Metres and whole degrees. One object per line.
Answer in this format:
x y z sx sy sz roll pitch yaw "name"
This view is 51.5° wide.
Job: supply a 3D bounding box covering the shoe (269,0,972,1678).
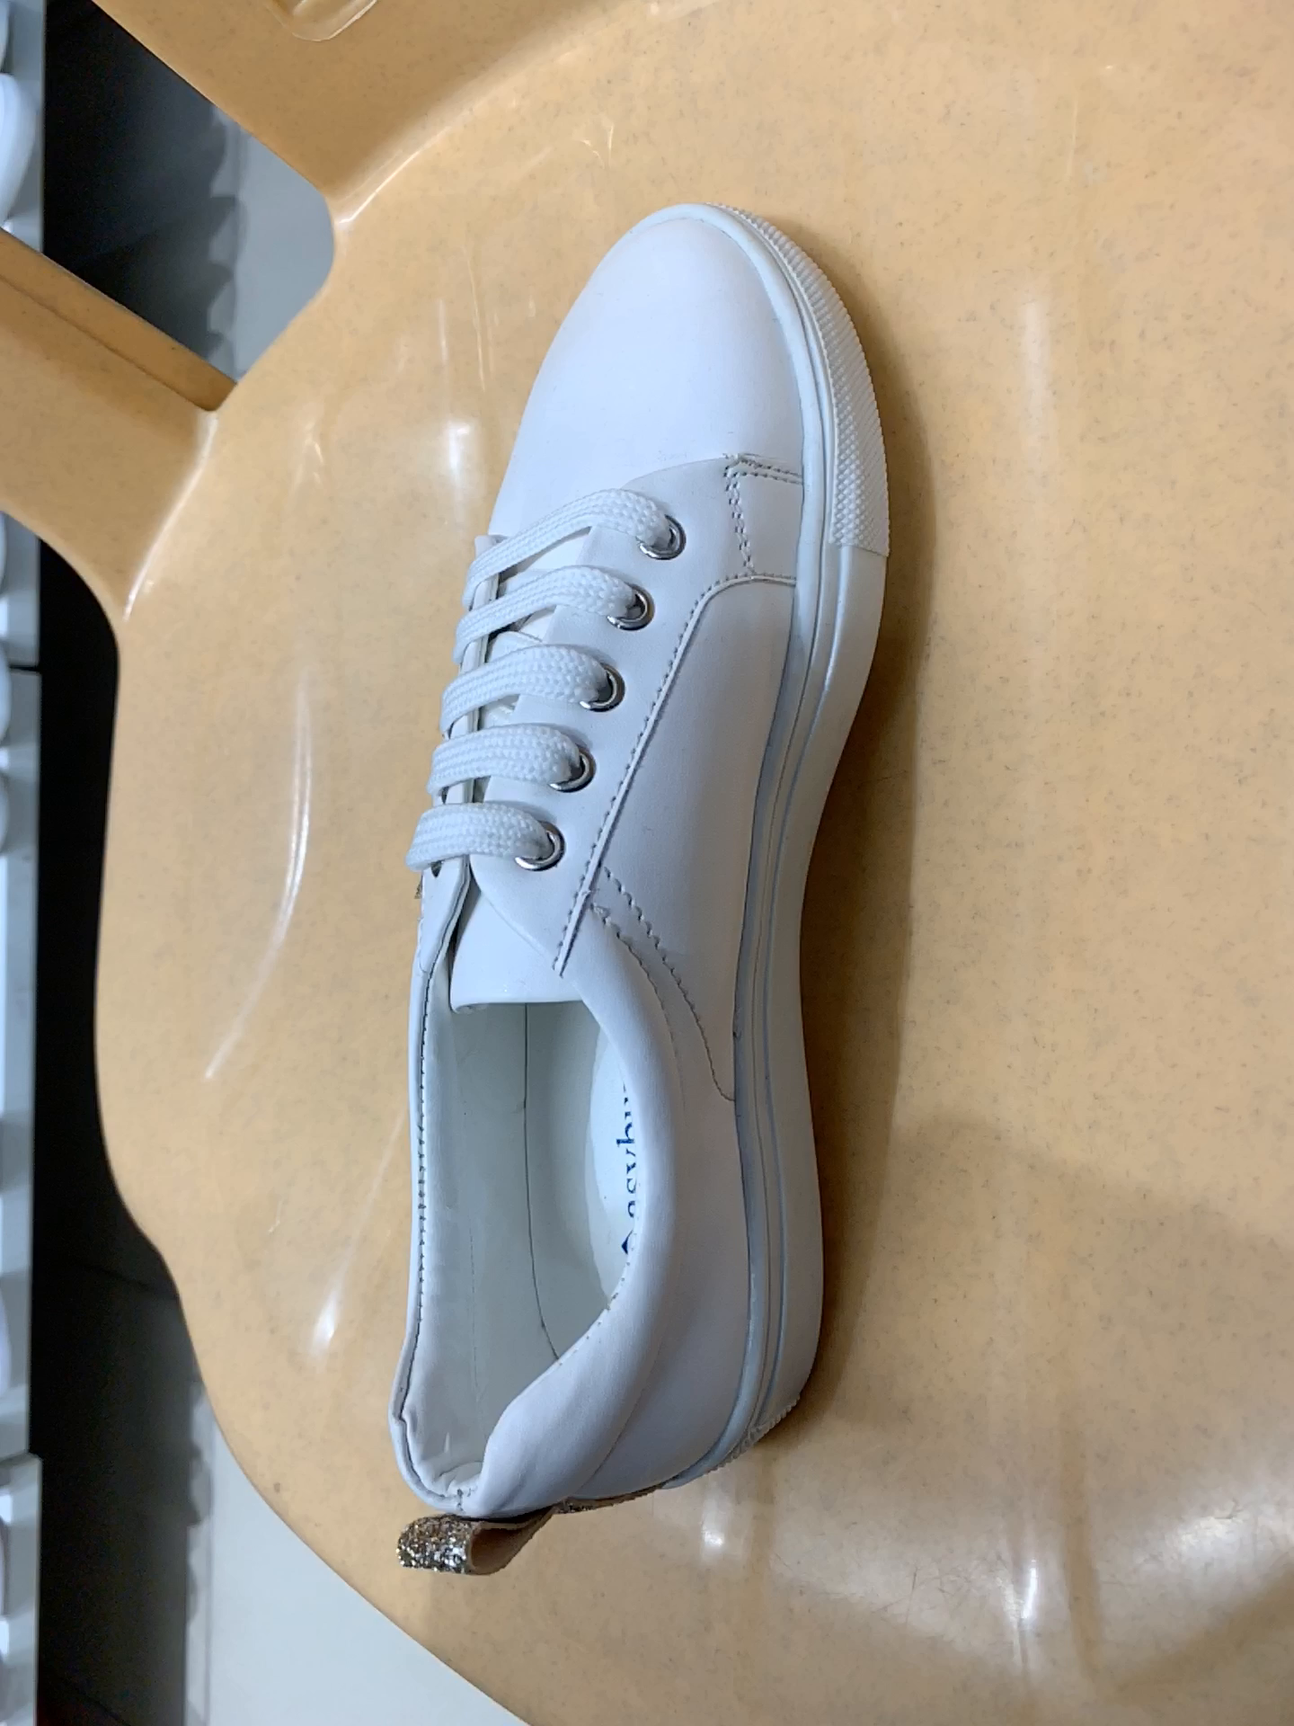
-0.004 -0.005 0.252 0.091 0.089 0.240 -3 87 38 "shoe"
